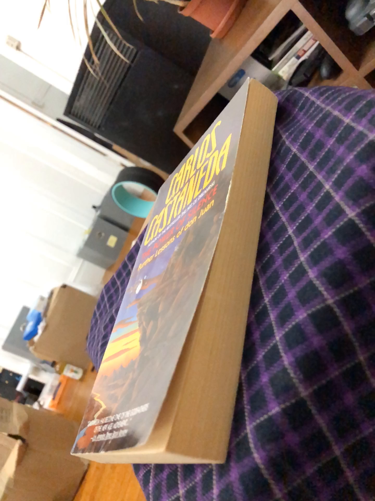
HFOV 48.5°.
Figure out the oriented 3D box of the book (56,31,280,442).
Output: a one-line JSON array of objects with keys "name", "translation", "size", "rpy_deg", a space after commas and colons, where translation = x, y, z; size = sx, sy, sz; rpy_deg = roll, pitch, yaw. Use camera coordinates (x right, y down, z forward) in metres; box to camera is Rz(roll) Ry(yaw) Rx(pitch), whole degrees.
[{"name": "book", "translation": [-0.012, -0.006, 0.251], "size": [0.150, 0.020, 0.220], "rpy_deg": [-39, 31, 53]}]
